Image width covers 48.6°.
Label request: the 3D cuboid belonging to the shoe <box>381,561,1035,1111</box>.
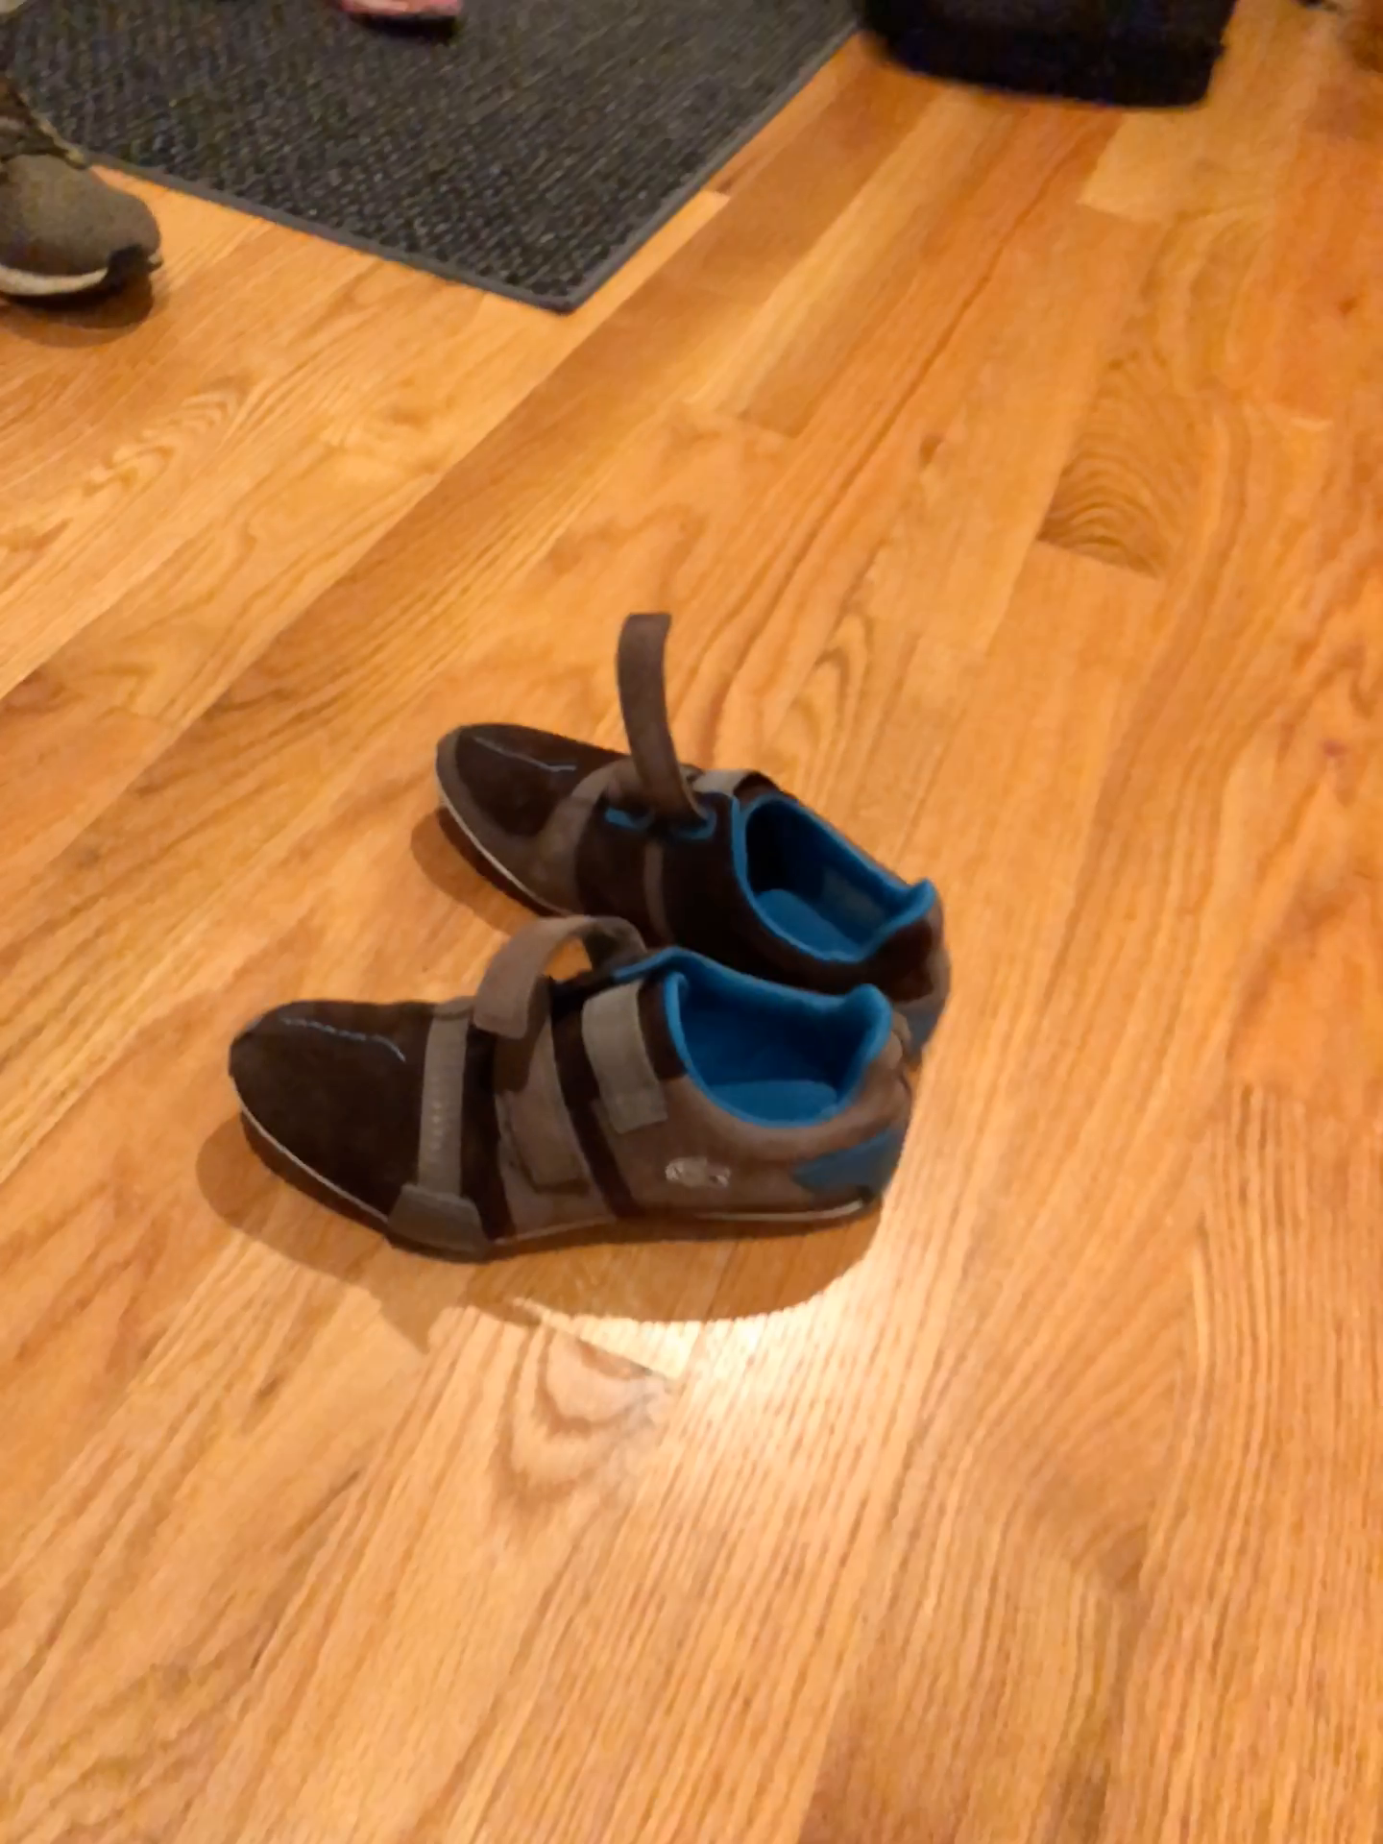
[{"bbox_3d":[0.000,-0.044,0.658,0.255,0.092,0.102,30,49,17],"label":"shoe"}]

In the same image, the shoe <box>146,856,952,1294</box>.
[{"bbox_3d":[-0.048,0.057,0.552,0.255,0.092,0.103,5,47,-6],"label":"shoe"}]
